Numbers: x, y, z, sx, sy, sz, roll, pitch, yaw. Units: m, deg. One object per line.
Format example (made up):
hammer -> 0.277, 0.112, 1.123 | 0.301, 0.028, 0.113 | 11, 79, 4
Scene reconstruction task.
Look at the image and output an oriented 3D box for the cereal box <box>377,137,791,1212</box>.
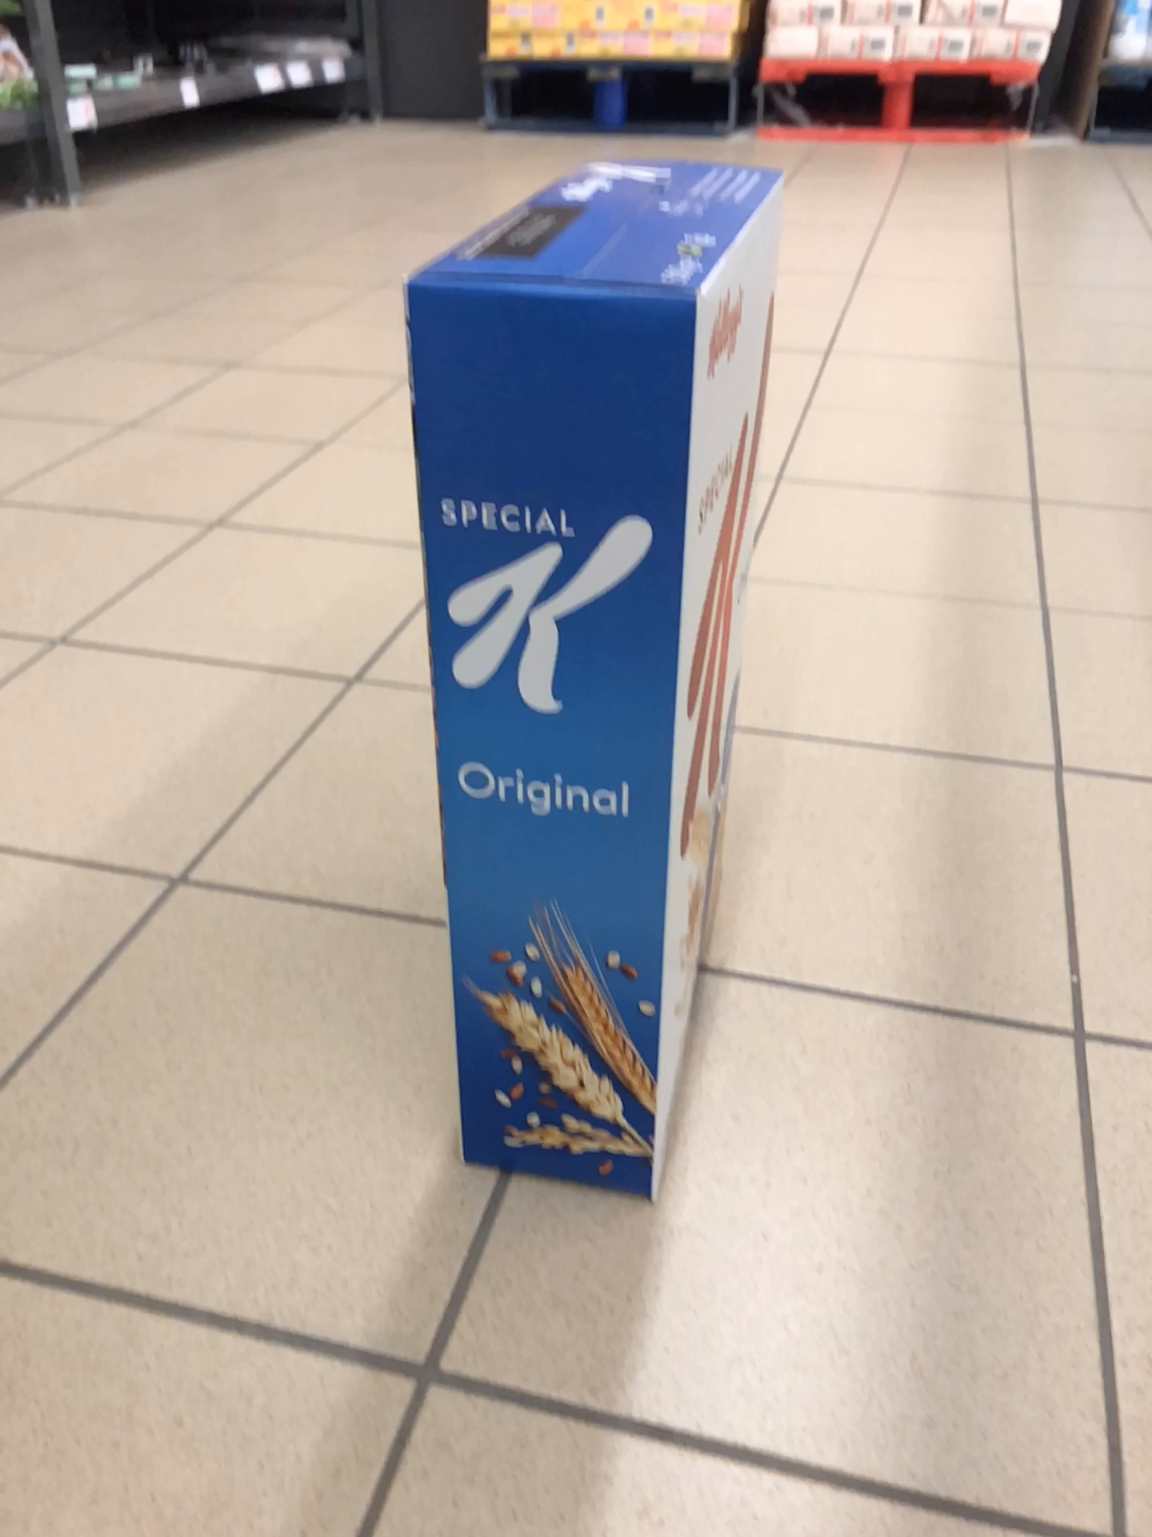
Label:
cereal box -> 0.015, -0.039, 0.436 | 0.070, 0.298, 0.211 | 7, 32, 12
